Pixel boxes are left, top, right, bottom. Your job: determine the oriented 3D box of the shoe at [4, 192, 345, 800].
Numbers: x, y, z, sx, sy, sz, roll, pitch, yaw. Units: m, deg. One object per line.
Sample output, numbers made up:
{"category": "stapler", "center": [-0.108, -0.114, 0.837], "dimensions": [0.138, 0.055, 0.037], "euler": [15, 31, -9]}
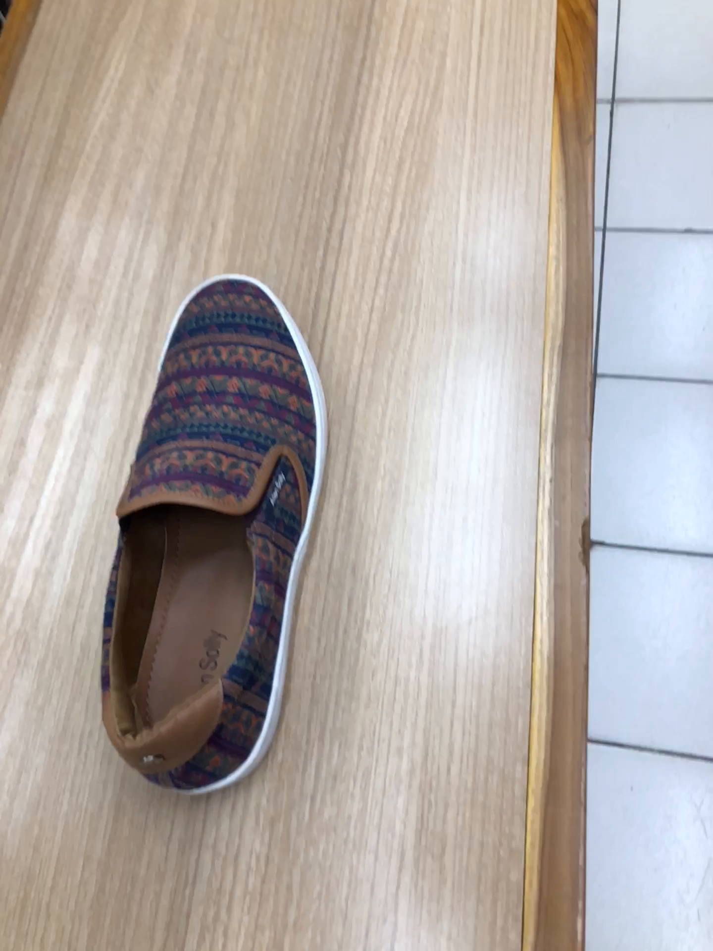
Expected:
{"category": "shoe", "center": [-0.071, 0.006, 0.383], "dimensions": [0.100, 0.090, 0.271], "euler": [0, 70, 10]}
